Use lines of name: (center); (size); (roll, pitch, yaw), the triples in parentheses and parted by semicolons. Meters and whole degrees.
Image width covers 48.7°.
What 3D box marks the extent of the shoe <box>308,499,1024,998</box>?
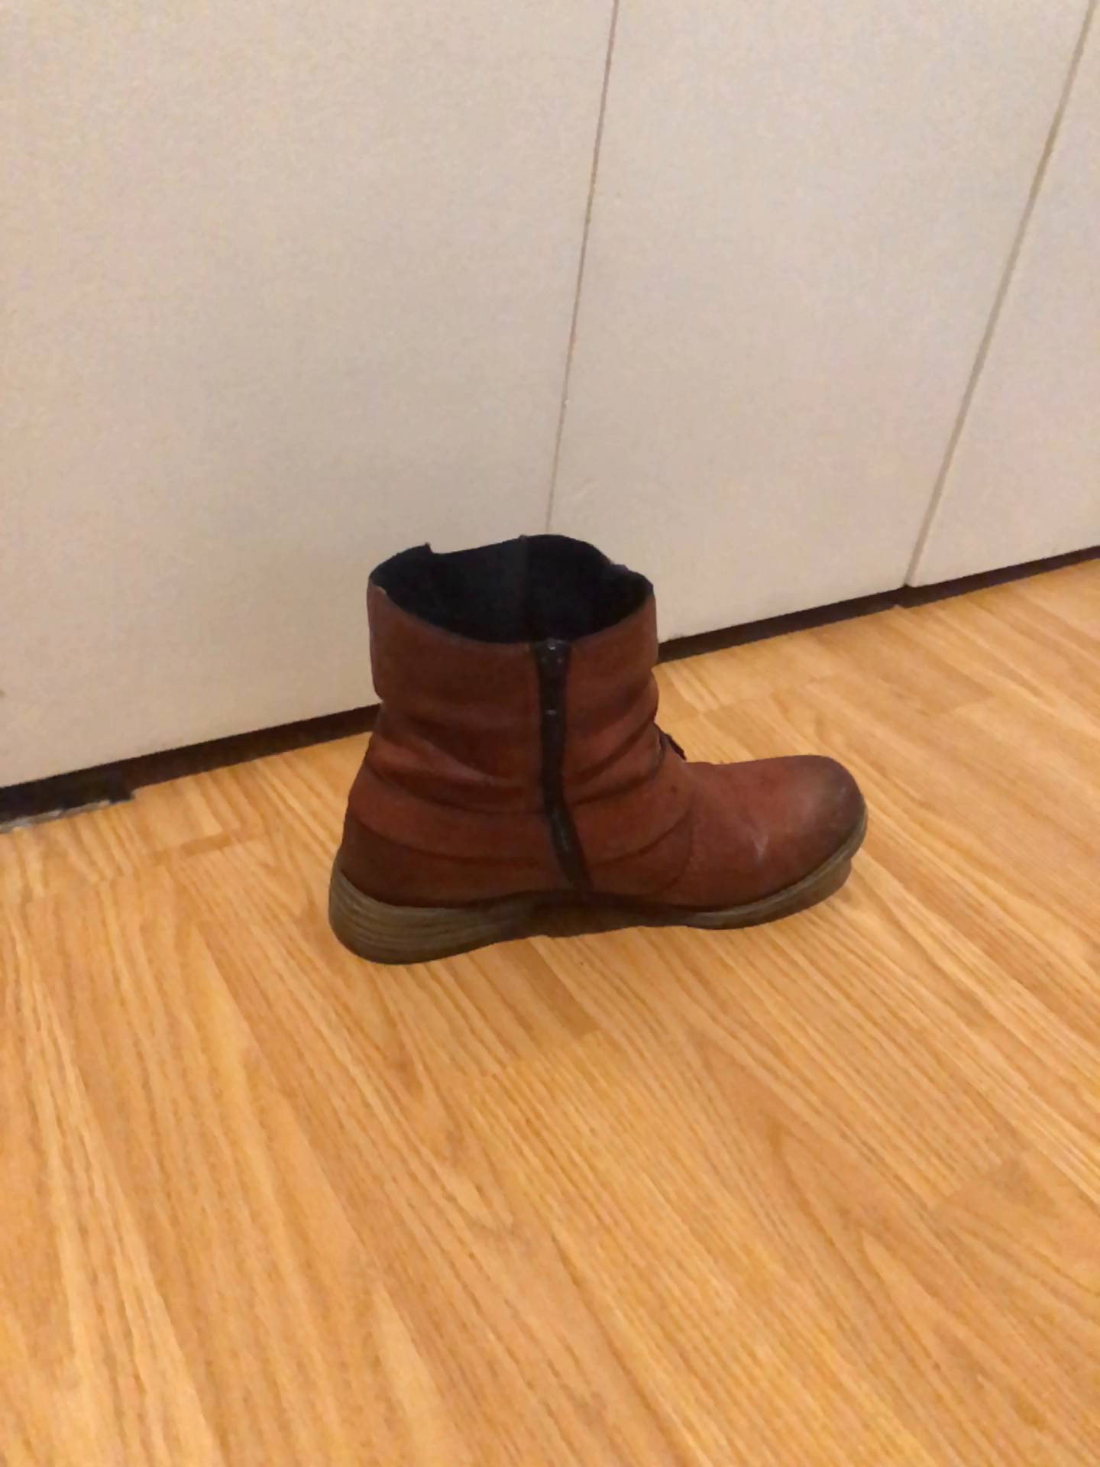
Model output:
shoe: (0.039, -0.001, 0.534); (0.270, 0.169, 0.100); (-5, 36, -19)
